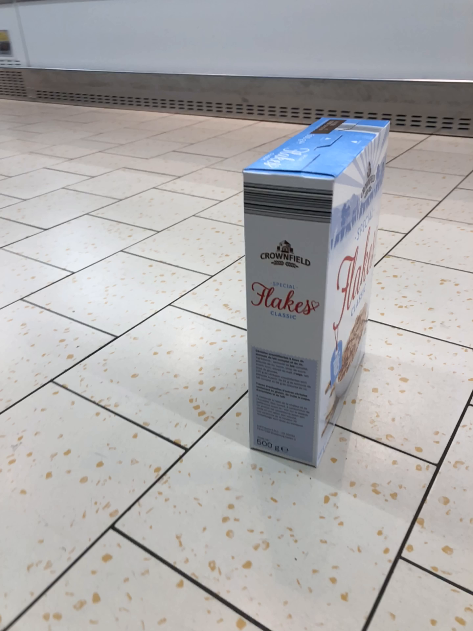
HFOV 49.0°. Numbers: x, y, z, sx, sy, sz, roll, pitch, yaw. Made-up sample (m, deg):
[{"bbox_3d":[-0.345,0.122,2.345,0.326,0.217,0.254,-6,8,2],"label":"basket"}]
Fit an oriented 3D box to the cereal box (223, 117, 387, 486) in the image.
[{"bbox_3d":[0.069,-0.022,0.477,0.070,0.268,0.201,11,32,23],"label":"cereal box"}]
